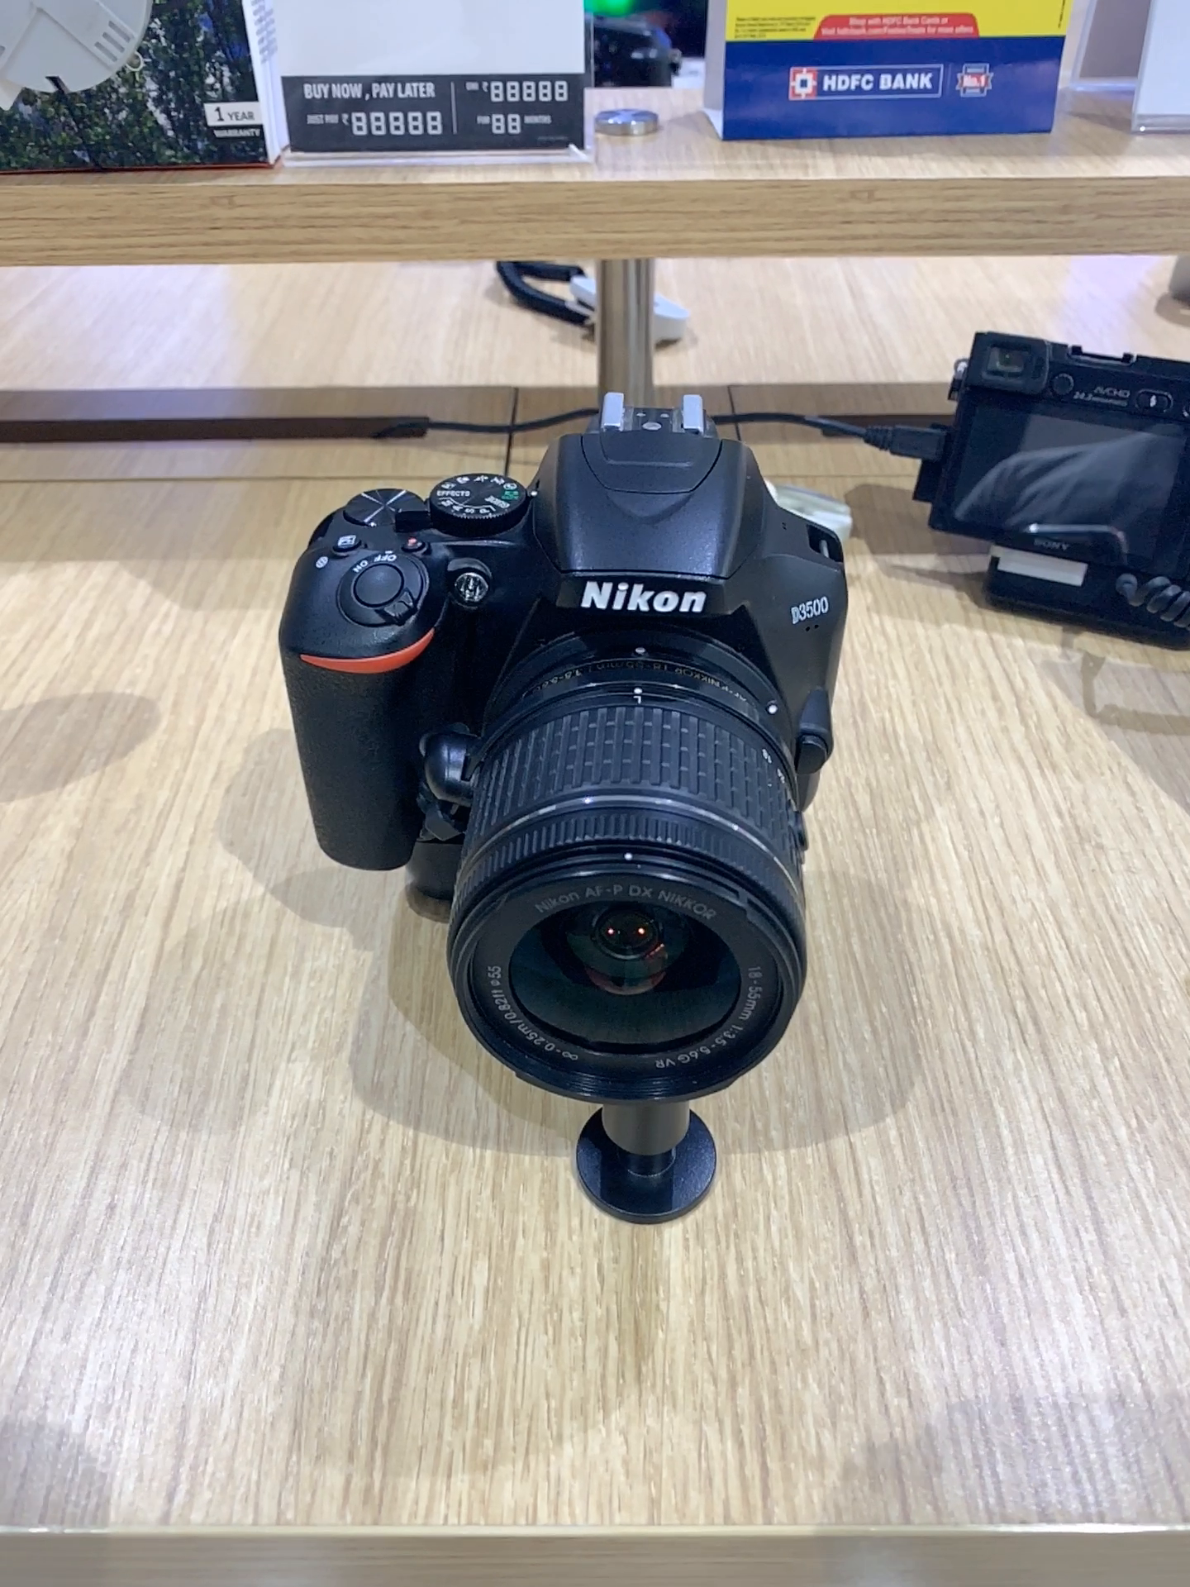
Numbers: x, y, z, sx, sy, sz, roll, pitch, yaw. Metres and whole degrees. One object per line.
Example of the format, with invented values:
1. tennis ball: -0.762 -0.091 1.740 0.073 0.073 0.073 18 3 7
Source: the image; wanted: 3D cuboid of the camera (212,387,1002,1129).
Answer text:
1. camera: 0.003 -0.010 0.228 0.102 0.091 0.104 1 40 2
